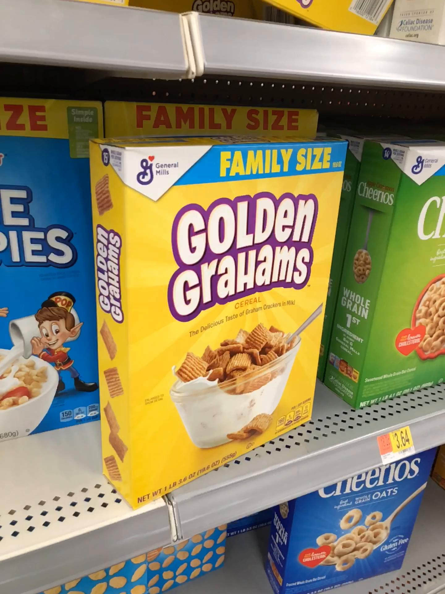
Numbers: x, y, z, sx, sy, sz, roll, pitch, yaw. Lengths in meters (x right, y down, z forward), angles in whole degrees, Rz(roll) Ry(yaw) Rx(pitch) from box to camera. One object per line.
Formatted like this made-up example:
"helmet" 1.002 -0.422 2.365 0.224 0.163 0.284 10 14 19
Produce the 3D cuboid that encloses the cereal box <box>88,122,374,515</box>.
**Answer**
"cereal box" 0.010 0.007 0.453 0.240 0.309 0.070 -15 30 -37
